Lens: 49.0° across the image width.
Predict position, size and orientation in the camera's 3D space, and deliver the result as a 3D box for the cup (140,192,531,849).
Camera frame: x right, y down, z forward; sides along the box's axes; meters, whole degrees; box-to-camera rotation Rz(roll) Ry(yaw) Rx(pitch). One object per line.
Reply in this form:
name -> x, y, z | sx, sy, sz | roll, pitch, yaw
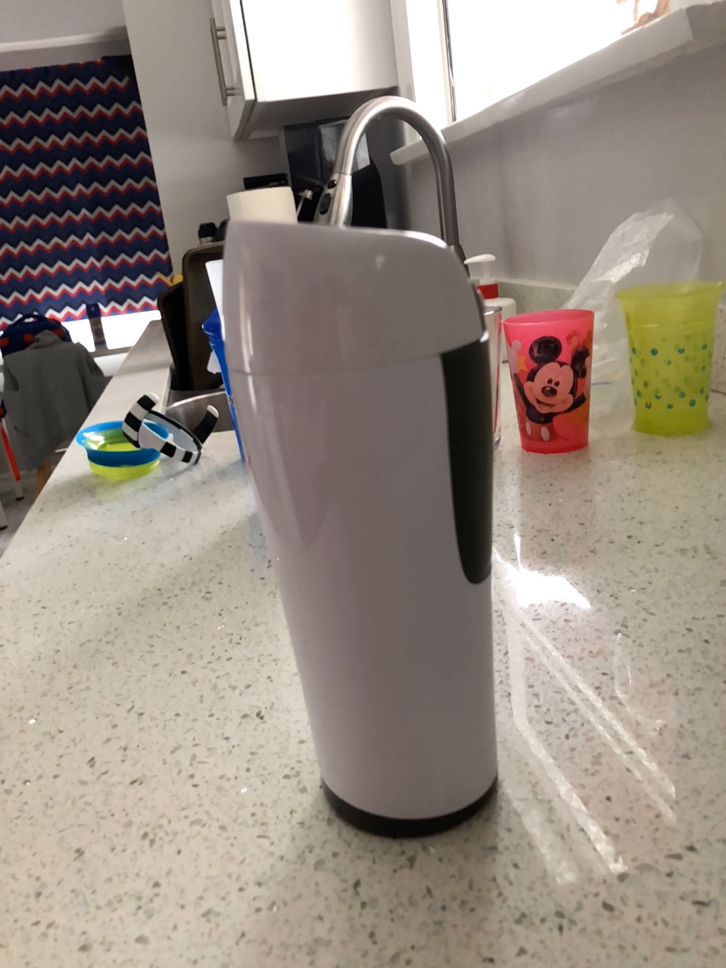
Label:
cup -> 0.004, 0.009, 0.254 | 0.081, 0.182, 0.078 | -7, 17, 2
